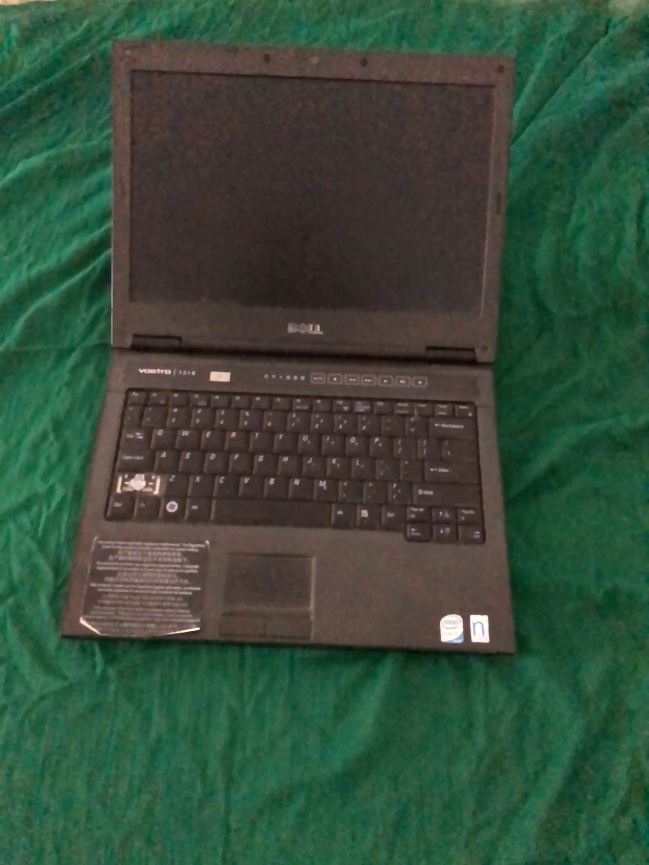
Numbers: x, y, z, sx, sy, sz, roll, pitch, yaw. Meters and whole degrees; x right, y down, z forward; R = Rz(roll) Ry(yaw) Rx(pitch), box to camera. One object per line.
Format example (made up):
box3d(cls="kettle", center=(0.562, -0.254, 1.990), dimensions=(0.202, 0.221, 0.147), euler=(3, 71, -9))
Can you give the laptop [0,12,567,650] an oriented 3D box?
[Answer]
box3d(cls="laptop", center=(-0.015, -0.085, 0.521), dimensions=(0.313, 0.127, 0.440), euler=(2, 69, 2))
